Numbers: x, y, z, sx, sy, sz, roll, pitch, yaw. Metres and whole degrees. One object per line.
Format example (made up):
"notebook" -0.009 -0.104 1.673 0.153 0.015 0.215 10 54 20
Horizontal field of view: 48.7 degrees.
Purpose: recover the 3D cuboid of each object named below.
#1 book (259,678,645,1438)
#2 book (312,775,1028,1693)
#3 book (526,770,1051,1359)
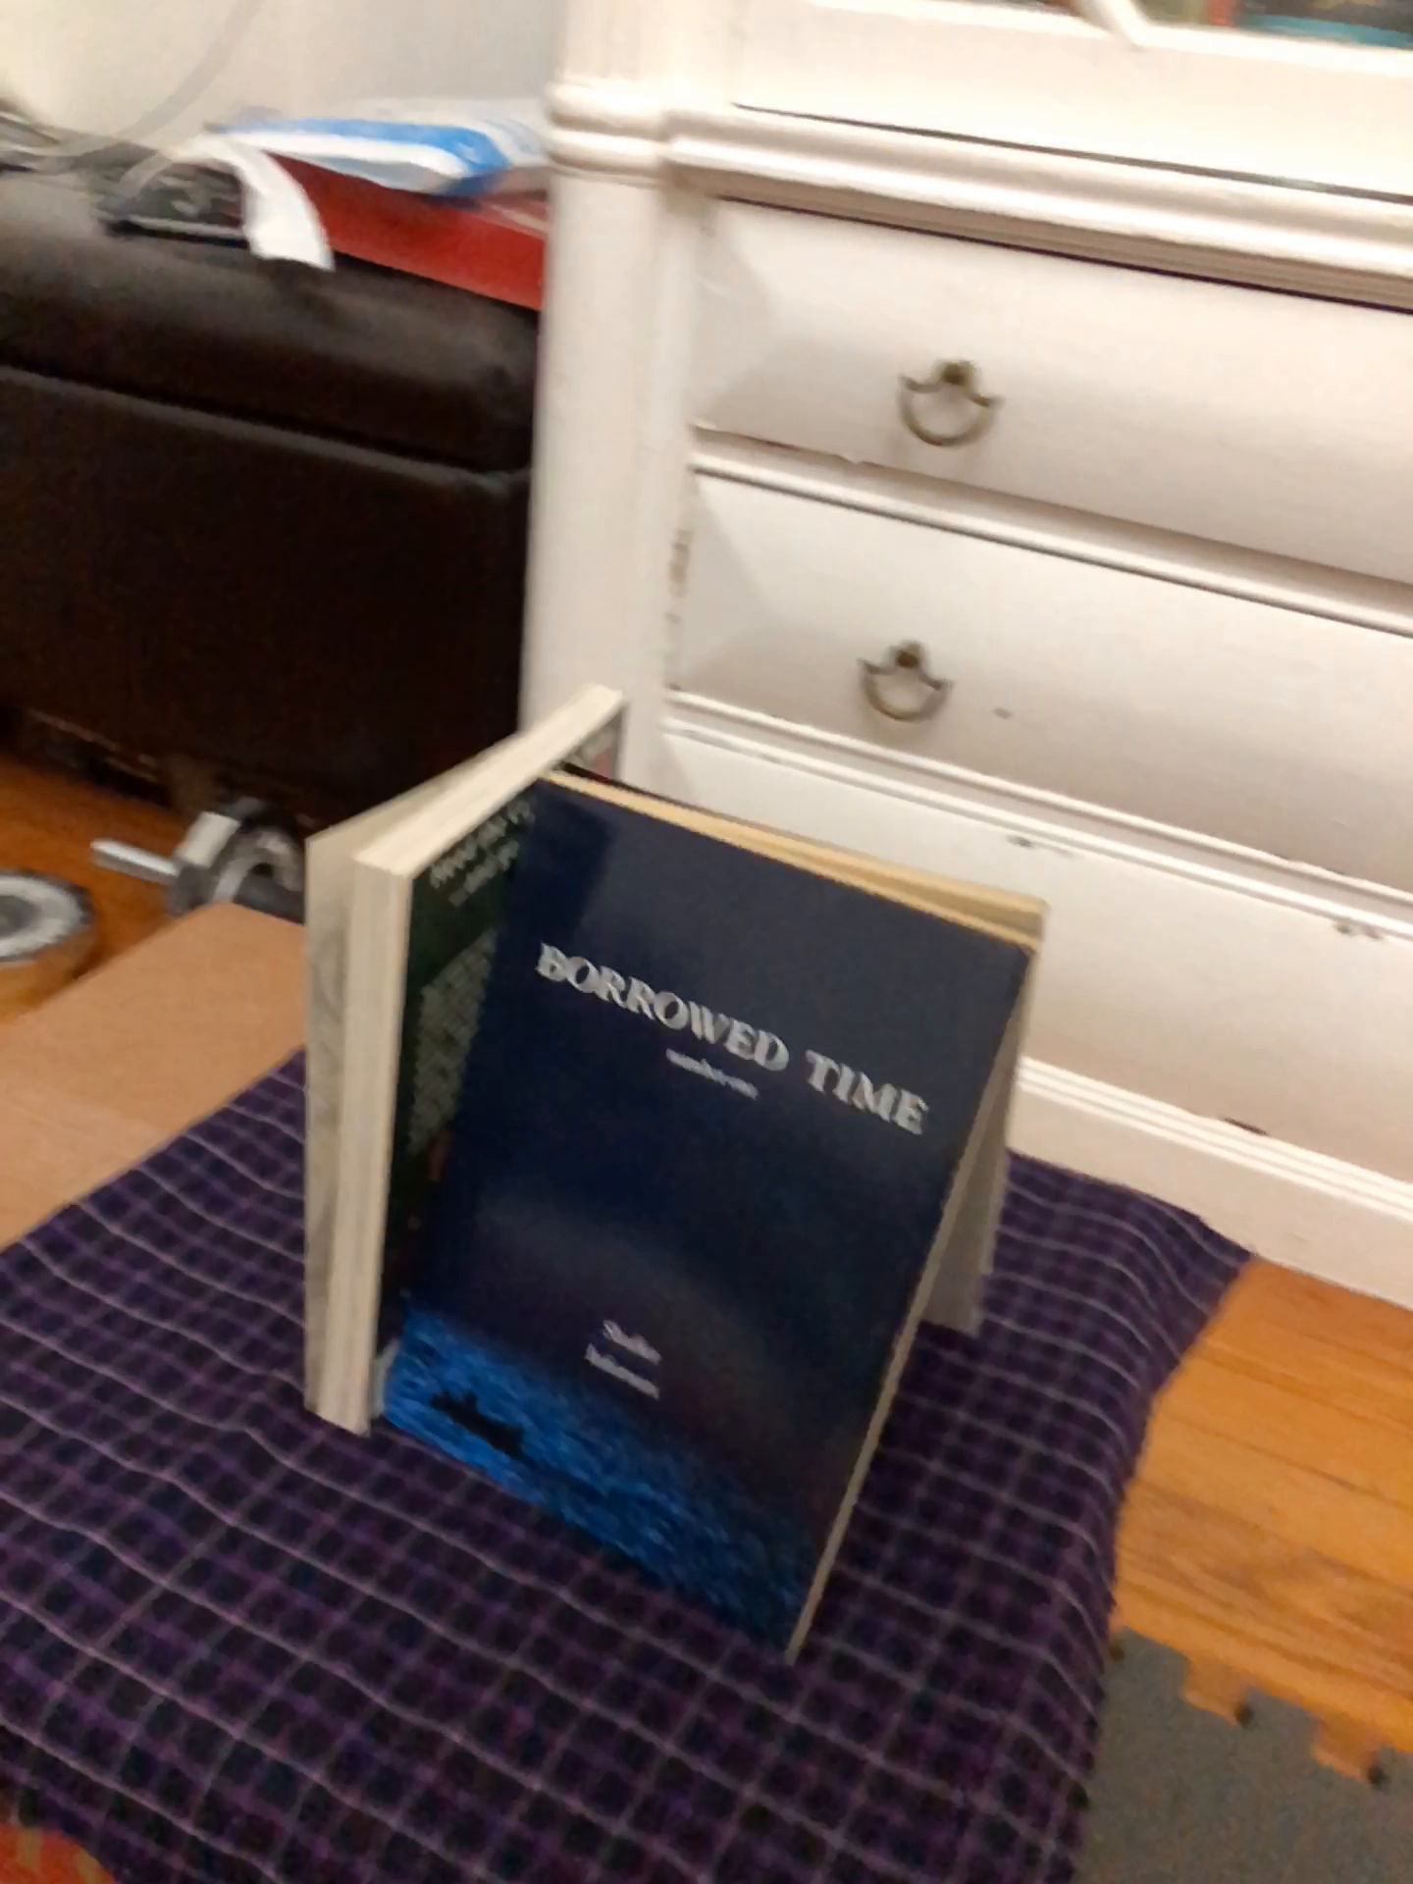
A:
"book" -0.074 0.031 0.462 0.020 0.189 0.141 22 32 13
"book" -0.018 0.074 0.413 0.150 0.200 0.010 20 11 20
"book" 0.022 0.045 0.467 0.140 0.199 0.010 17 49 18
